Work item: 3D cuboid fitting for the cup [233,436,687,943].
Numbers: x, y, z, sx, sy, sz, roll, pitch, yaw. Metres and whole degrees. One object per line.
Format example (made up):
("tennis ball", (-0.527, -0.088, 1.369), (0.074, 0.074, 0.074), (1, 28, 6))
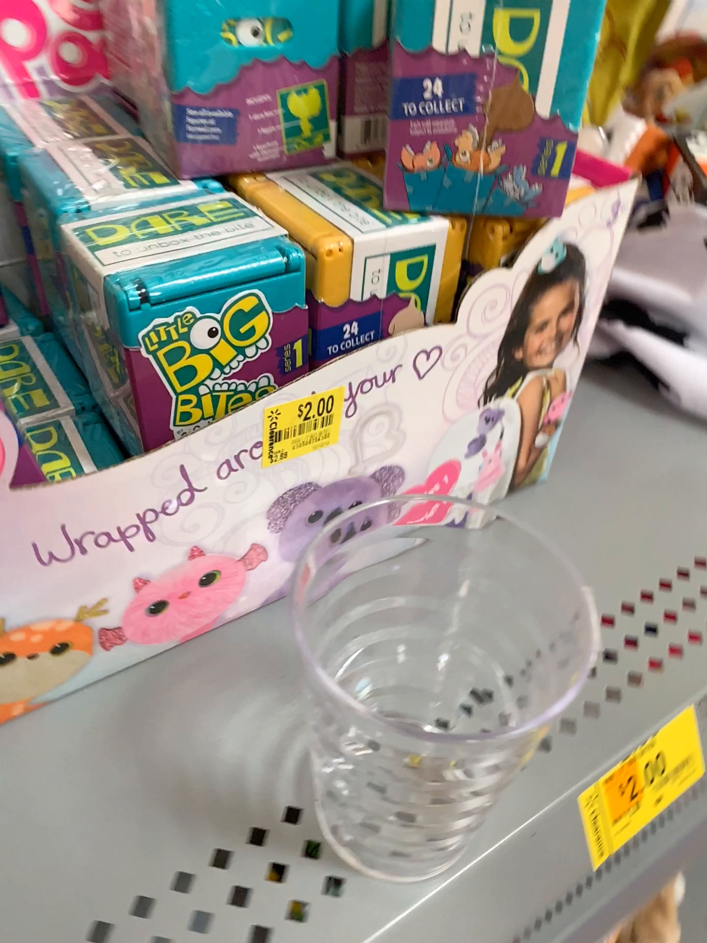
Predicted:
("cup", (0.020, 0.063, 0.206), (0.079, 0.107, 0.070), (-22, 48, -27))
